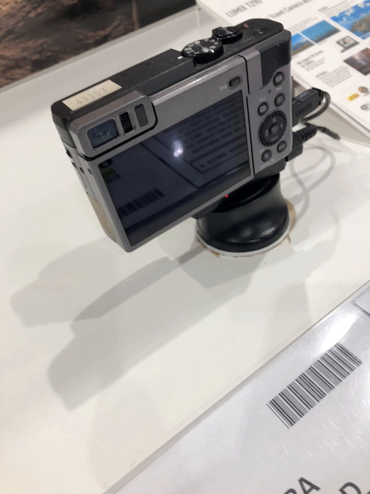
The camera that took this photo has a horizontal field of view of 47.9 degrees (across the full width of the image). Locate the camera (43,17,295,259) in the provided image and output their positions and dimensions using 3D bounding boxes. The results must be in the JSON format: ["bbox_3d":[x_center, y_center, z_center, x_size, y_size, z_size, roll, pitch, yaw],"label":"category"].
[{"bbox_3d":[0.001,-0.052,0.195,0.107,0.065,0.030,-32,46,-17],"label":"camera"}]
